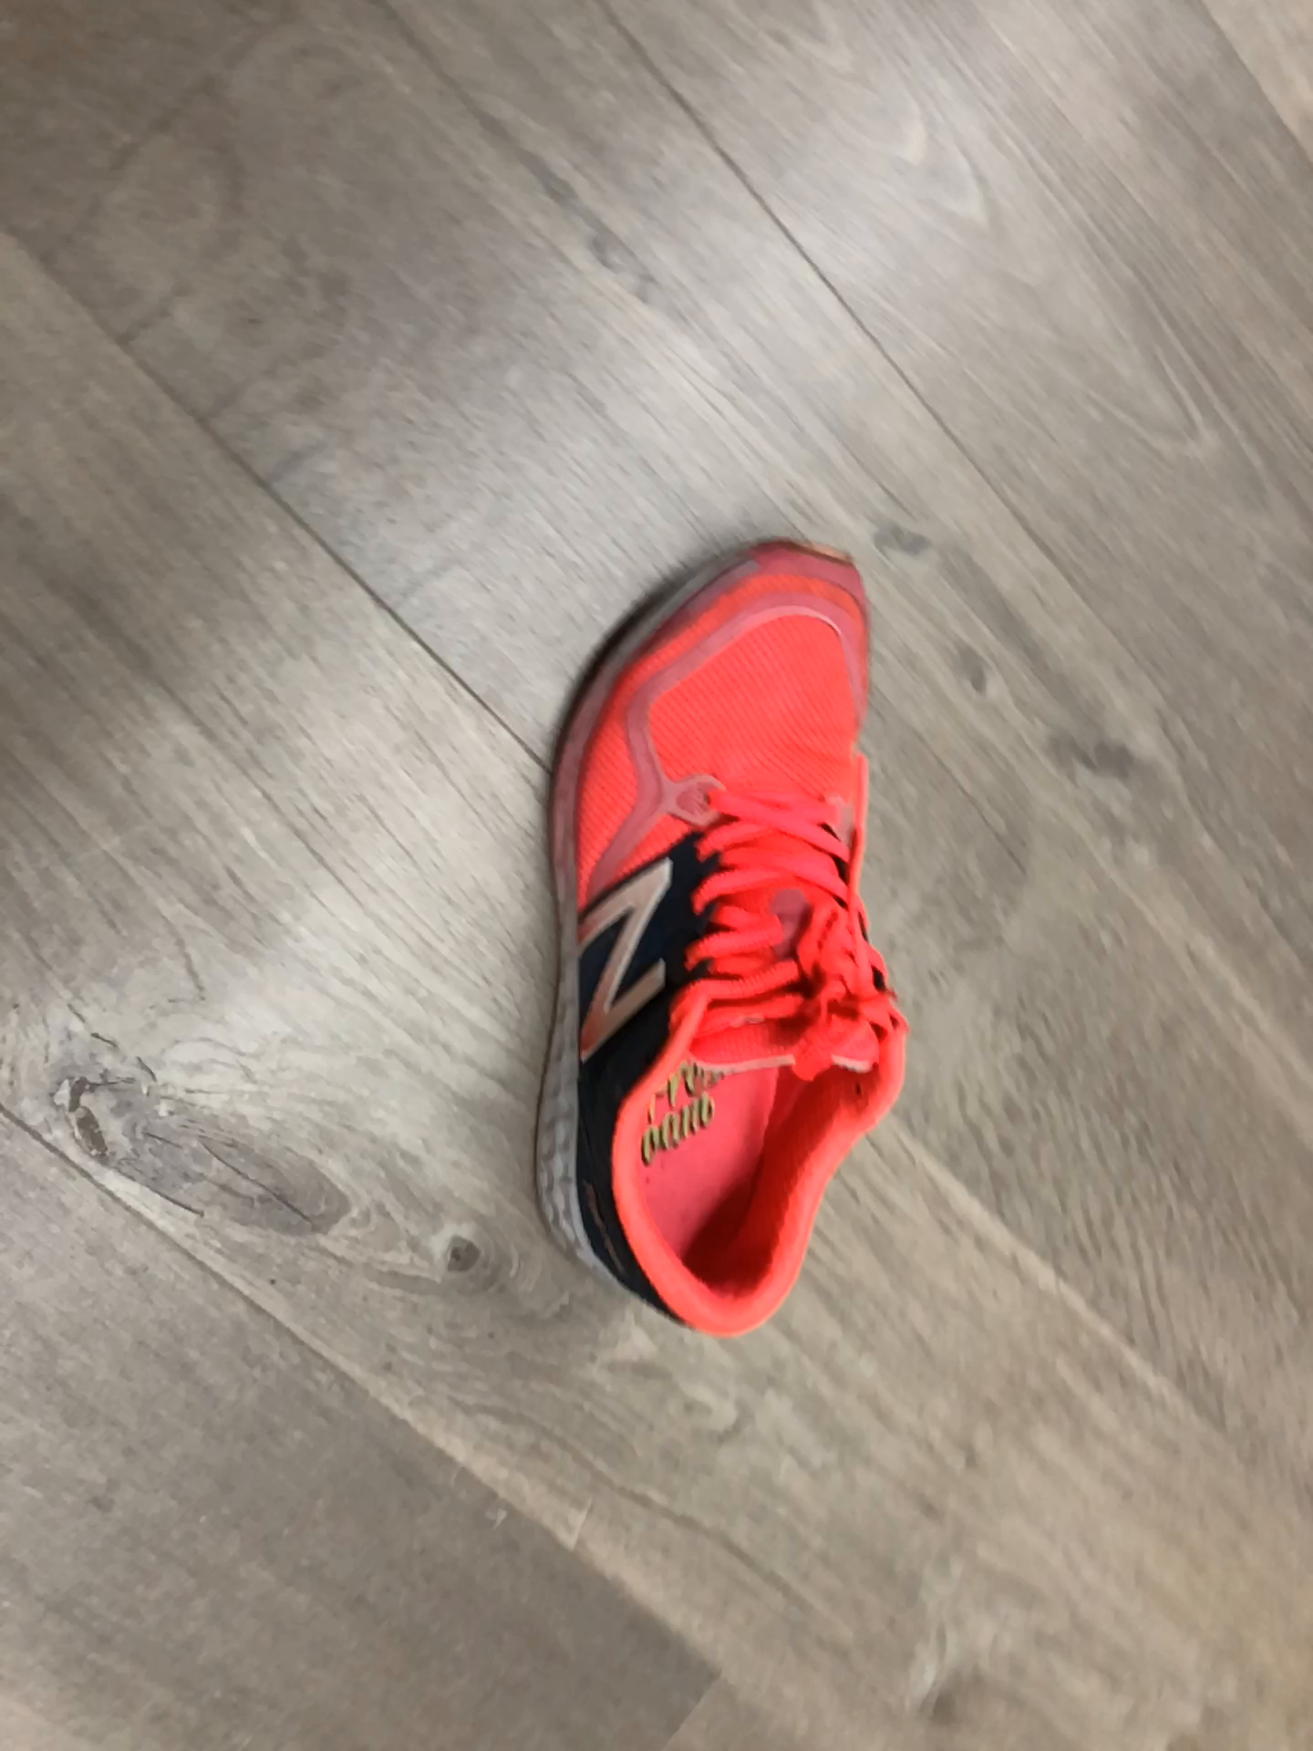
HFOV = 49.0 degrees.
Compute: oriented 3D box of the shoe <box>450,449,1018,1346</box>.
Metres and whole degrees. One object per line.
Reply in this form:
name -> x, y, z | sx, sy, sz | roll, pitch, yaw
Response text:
shoe -> 0.018, 0.008, 0.460 | 0.100, 0.110, 0.240 | 12, 90, -19
